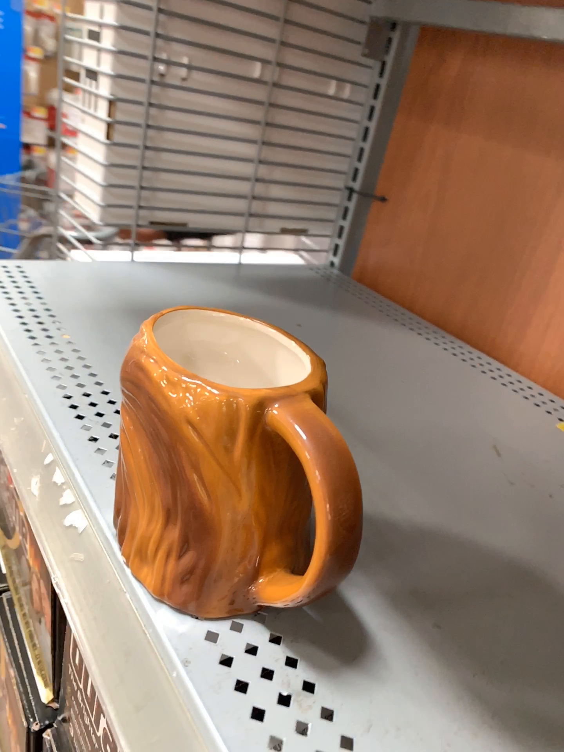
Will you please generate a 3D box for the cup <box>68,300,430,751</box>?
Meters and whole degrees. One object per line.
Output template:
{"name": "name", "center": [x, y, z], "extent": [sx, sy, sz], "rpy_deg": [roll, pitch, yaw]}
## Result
{"name": "cup", "center": [-0.031, 0.055, 0.280], "extent": [0.098, 0.138, 0.132], "rpy_deg": [-7, 33, -35]}
